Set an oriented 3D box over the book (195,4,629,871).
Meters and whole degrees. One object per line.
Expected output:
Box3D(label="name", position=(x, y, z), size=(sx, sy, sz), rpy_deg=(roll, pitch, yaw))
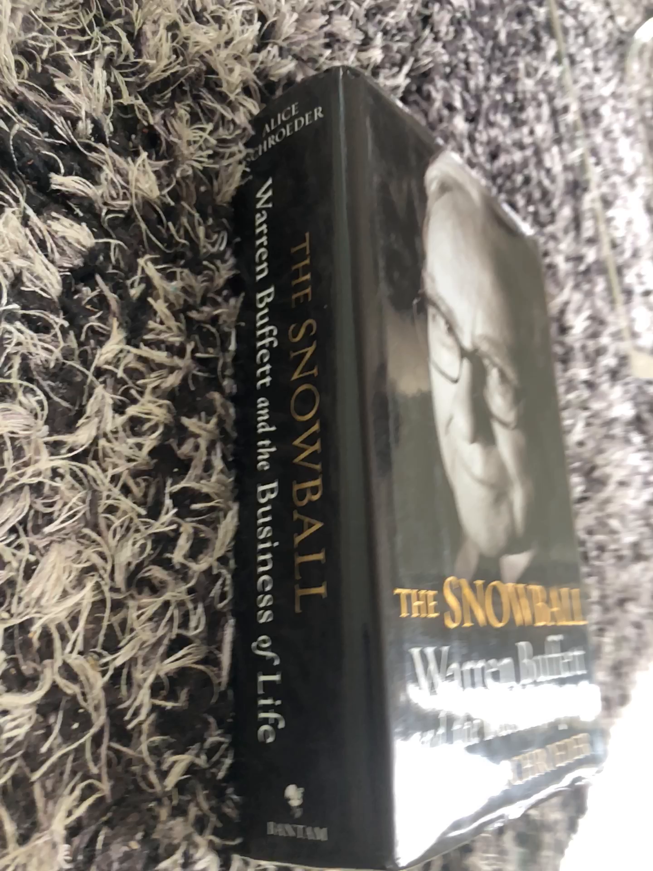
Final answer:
Box3D(label="book", position=(0.038, 0.011, 0.277), size=(0.181, 0.060, 0.250), rpy_deg=(18, 64, -51))
